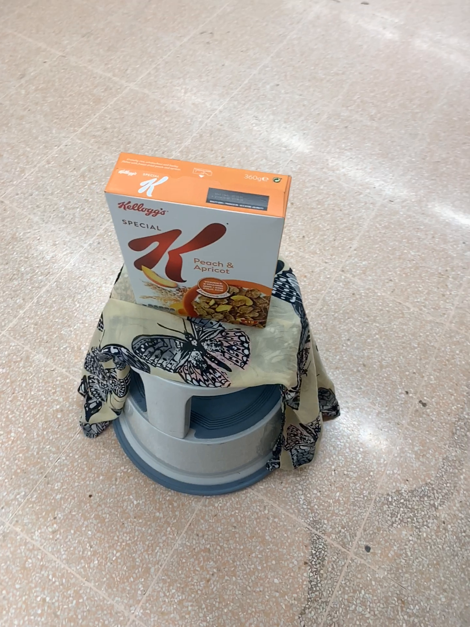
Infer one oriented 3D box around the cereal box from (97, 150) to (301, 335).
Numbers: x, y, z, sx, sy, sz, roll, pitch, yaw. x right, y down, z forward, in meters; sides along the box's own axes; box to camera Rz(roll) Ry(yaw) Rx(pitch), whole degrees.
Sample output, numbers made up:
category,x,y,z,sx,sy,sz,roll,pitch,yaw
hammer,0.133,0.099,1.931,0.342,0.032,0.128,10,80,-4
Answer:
category,x,y,z,sx,sy,sz,roll,pitch,yaw
cereal box,-0.042,-0.074,0.632,0.210,0.268,0.060,9,61,2
